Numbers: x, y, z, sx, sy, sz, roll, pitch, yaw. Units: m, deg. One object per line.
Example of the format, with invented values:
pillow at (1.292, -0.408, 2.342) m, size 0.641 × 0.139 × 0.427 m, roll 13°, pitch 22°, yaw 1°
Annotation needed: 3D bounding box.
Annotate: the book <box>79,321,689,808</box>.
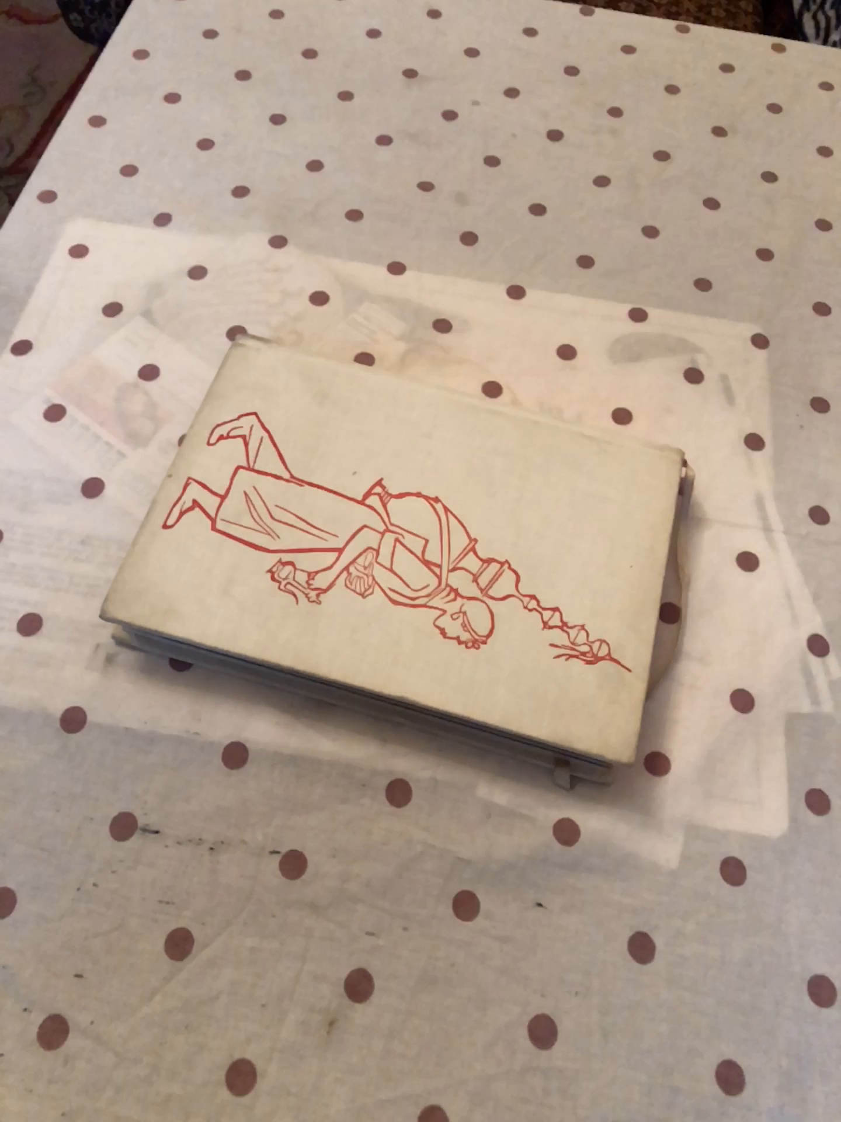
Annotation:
book at (-0.007, -0.006, 0.444) m, size 0.240 × 0.050 × 0.175 m, roll 15°, pitch 61°, yaw 3°
